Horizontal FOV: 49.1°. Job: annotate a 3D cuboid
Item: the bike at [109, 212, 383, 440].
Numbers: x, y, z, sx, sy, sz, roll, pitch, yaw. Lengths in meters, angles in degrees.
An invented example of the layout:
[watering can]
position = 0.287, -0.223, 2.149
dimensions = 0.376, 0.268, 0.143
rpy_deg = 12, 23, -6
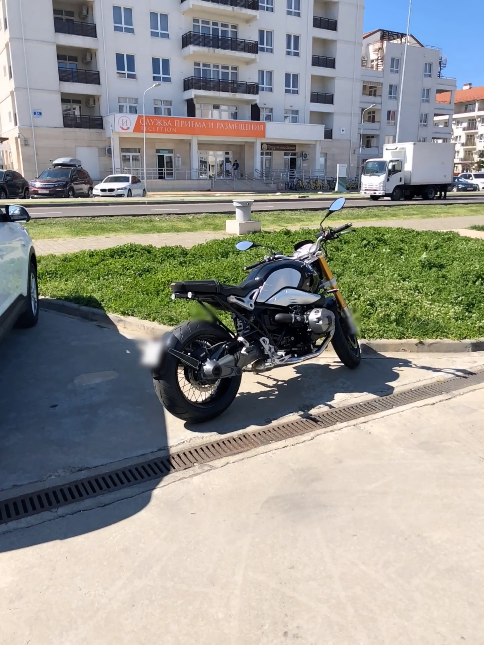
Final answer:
[bike]
position = 0.125, -0.152, 3.531
dimensions = 0.777, 1.013, 1.837
rpy_deg = 13, 20, 41
